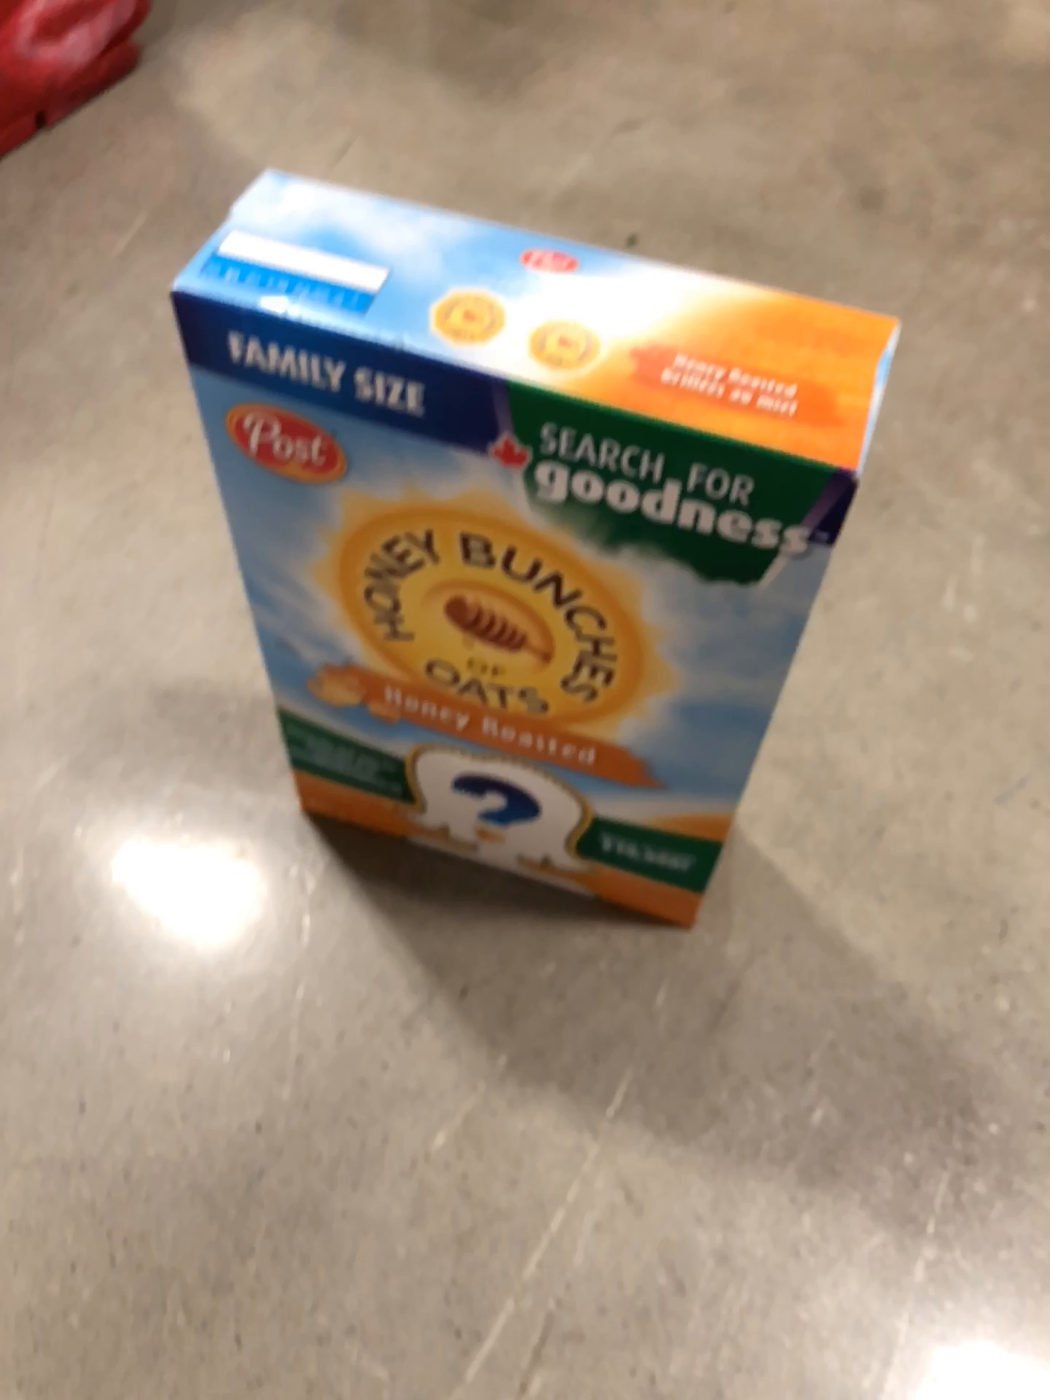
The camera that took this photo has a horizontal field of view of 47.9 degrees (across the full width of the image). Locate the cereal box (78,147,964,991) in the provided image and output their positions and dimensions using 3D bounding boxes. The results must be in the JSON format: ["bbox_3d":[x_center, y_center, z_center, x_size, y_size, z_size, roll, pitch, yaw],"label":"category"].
[{"bbox_3d":[-0.004,-0.013,0.425,0.210,0.309,0.070,16,58,9],"label":"cereal box"}]
